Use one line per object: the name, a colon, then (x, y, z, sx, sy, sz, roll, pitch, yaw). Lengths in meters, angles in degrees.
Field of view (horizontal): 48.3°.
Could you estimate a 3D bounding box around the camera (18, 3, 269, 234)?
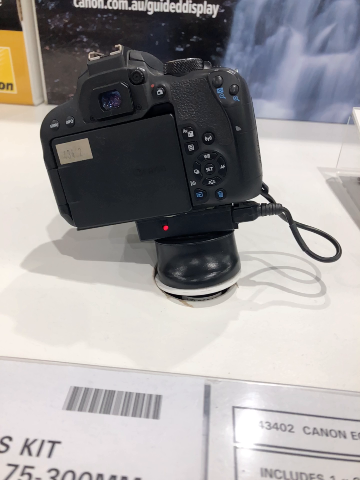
camera: (-0.017, -0.074, 0.269, 0.130, 0.104, 0.070, -10, 13, 12)
